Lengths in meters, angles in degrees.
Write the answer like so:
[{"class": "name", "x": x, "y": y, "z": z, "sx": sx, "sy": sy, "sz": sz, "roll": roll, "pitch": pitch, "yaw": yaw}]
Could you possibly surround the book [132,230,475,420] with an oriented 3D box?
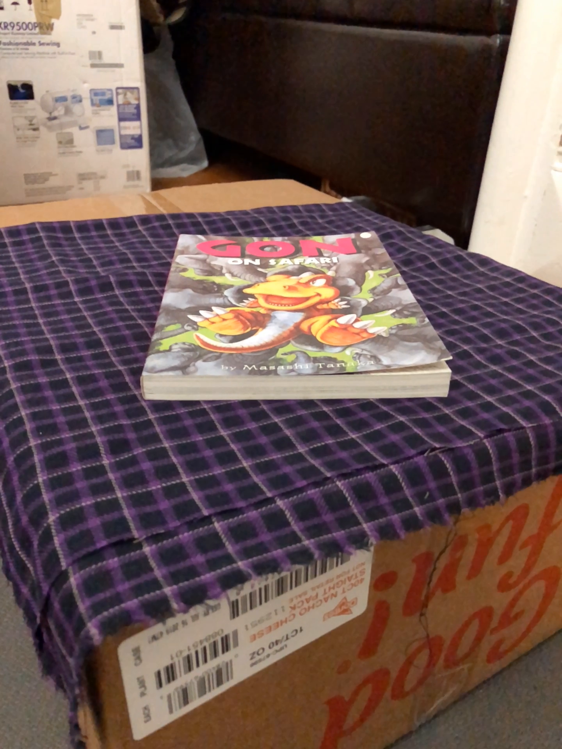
[{"class": "book", "x": 0.006, "y": -0.042, "z": 0.367, "sx": 0.150, "sy": 0.020, "sz": 0.211, "roll": 0, "pitch": 30, "yaw": -3}]
